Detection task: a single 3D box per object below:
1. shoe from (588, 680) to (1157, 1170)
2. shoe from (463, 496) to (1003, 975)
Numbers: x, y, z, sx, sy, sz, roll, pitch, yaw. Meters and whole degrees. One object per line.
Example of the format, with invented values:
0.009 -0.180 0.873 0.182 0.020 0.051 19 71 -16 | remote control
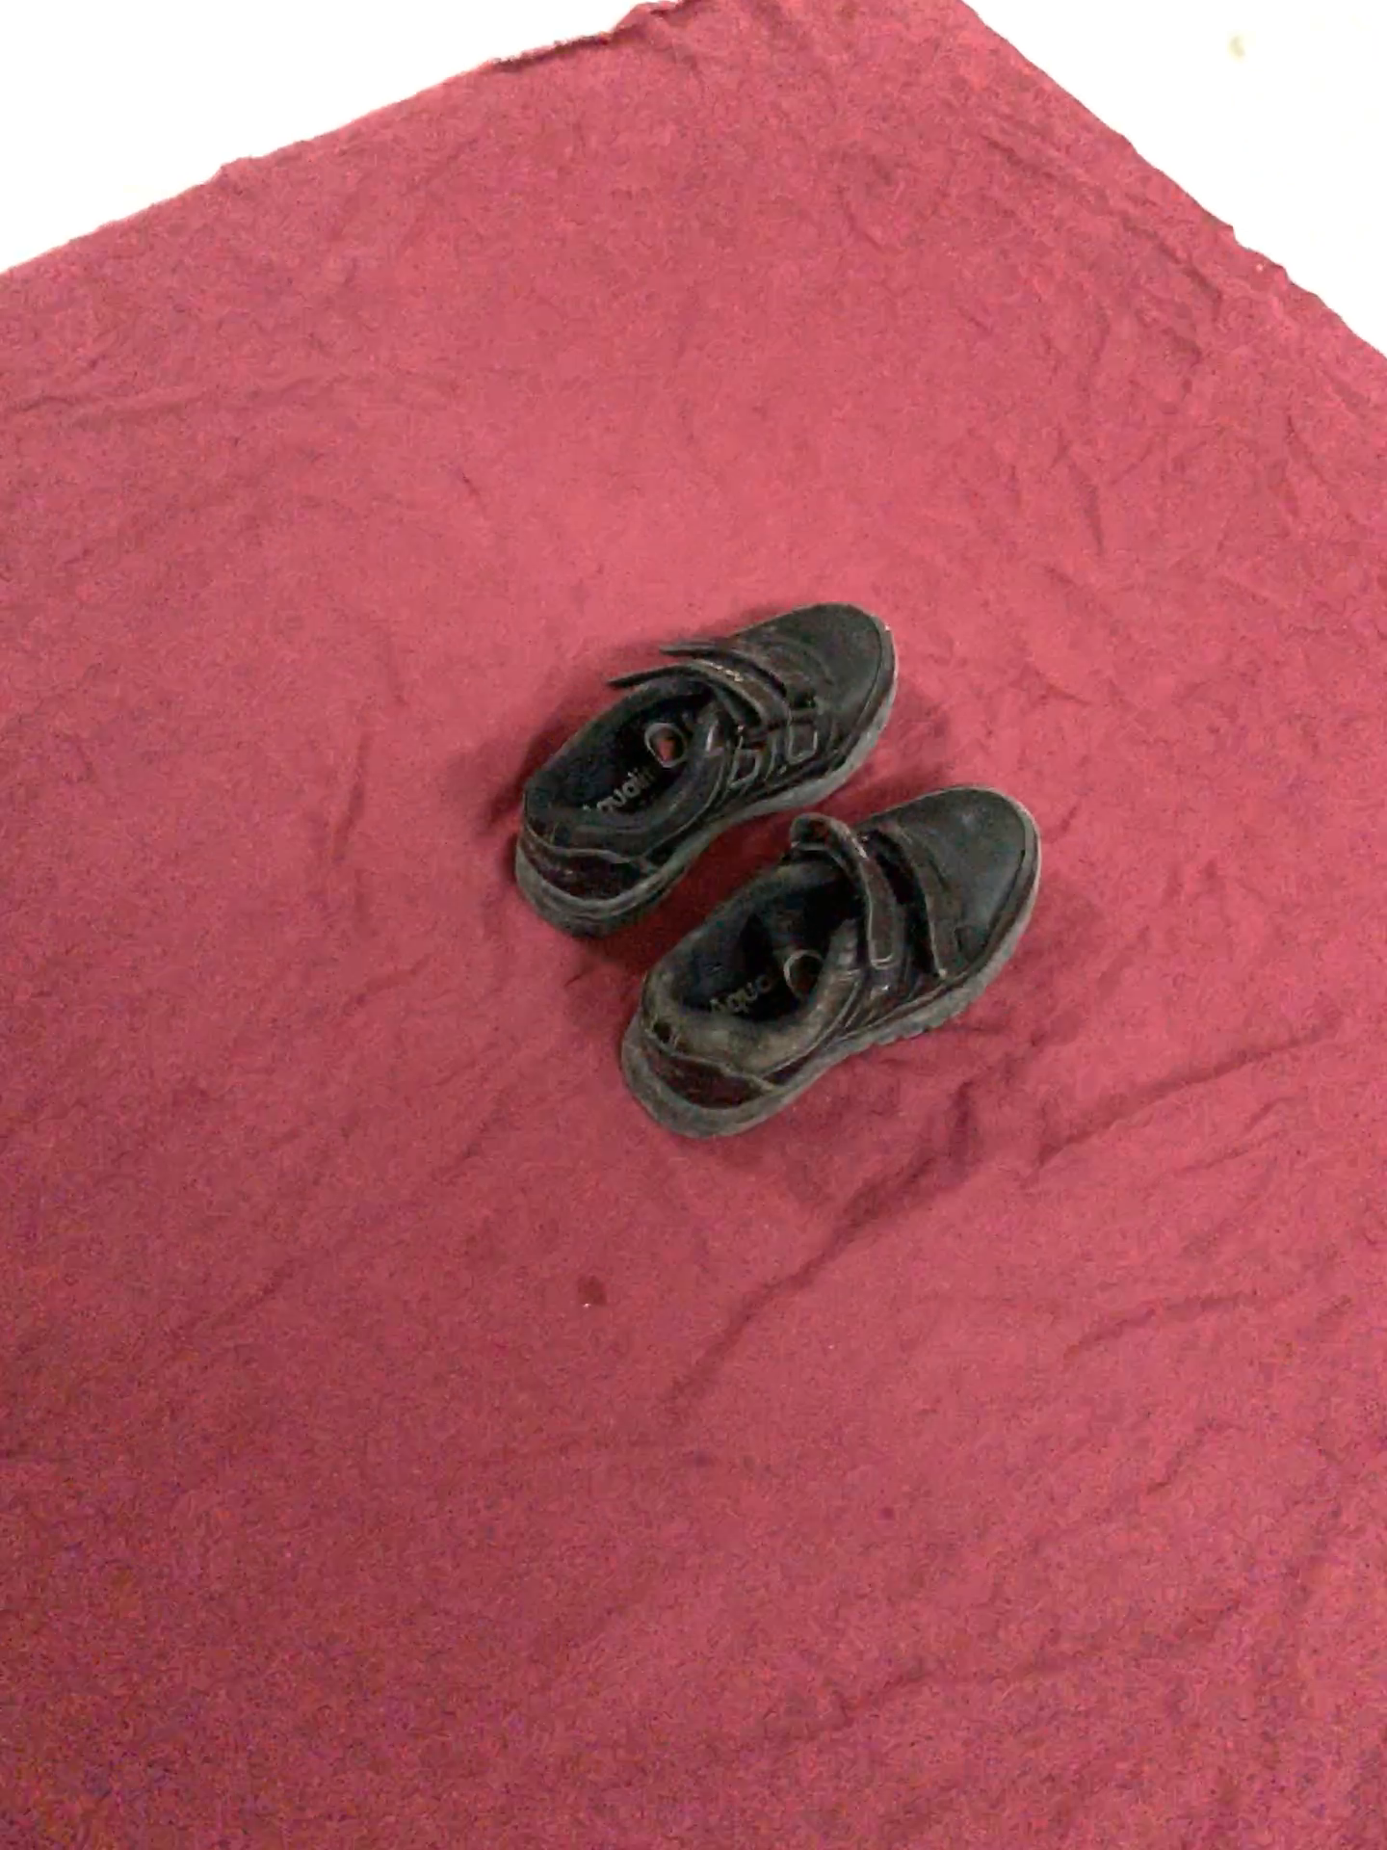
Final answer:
0.067 -0.002 0.549 0.210 0.070 0.070 -32 70 -16 | shoe
0.018 -0.078 0.574 0.210 0.070 0.070 -35 71 -17 | shoe
